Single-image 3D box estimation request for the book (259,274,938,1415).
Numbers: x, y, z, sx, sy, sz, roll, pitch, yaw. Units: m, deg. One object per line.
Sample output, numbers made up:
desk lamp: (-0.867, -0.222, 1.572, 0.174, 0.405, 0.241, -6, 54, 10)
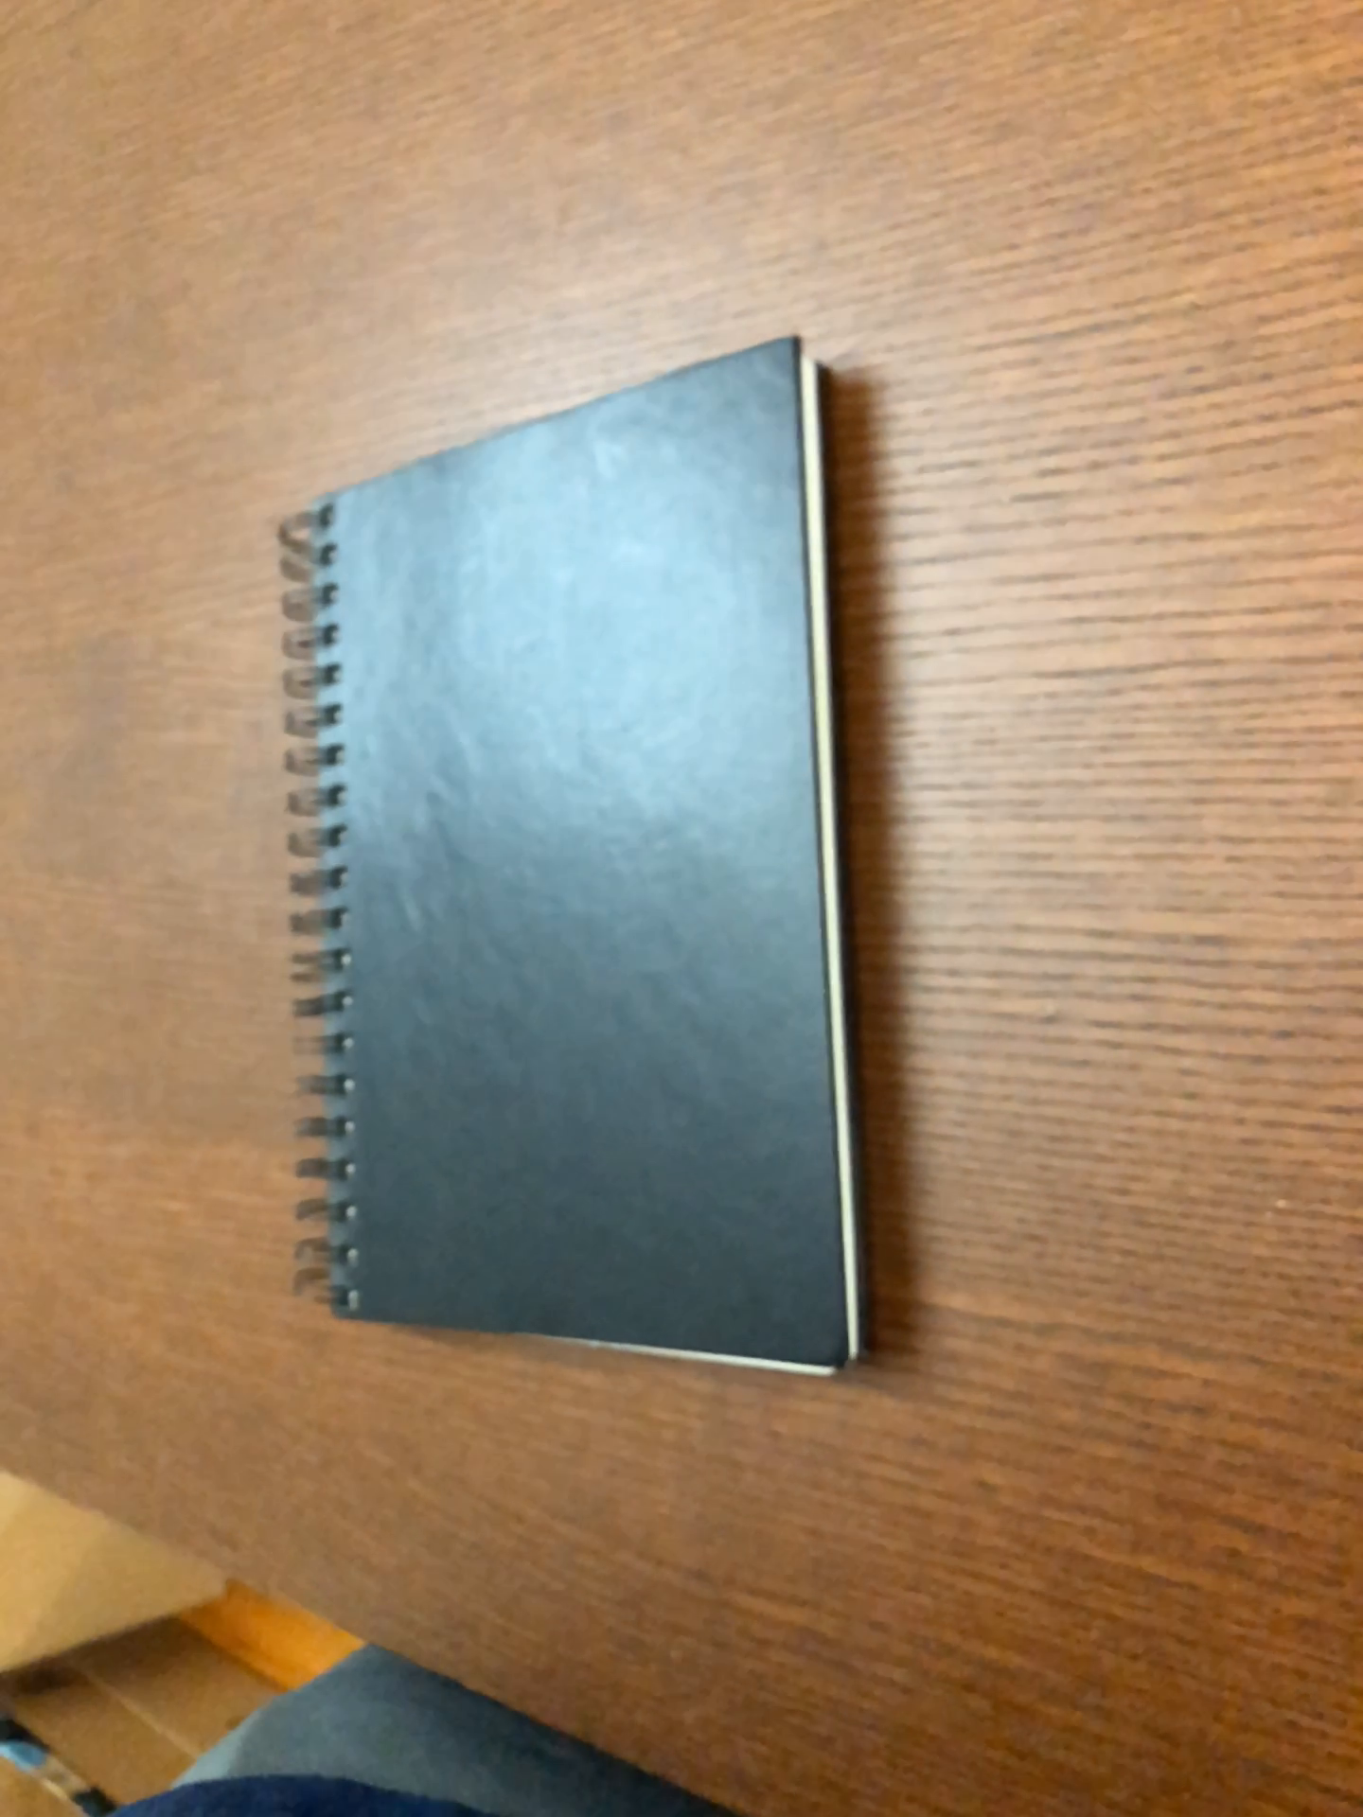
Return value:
book: (-0.036, -0.009, 0.416, 0.201, 0.030, 0.260, -7, 83, 36)
